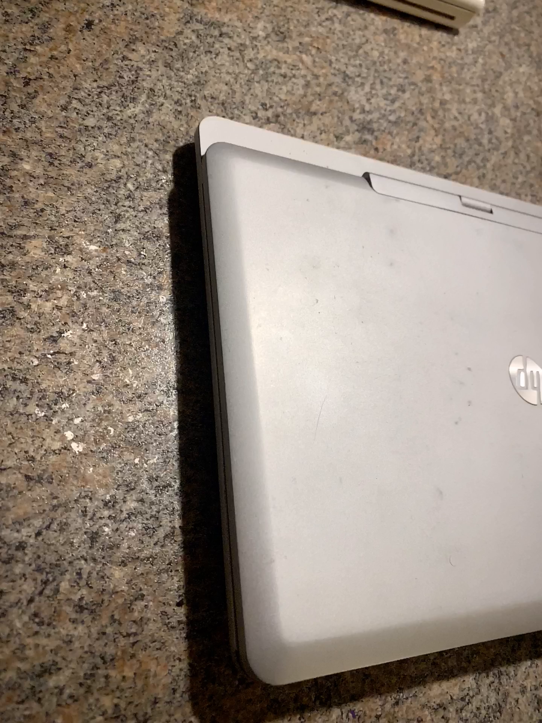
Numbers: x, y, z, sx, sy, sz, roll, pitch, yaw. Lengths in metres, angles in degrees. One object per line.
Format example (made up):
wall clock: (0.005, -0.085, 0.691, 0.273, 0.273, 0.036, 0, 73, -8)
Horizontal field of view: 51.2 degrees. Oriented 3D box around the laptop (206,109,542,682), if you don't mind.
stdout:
laptop: (0.107, 0.002, 0.240, 0.268, 0.005, 0.194, 5, 64, -26)
